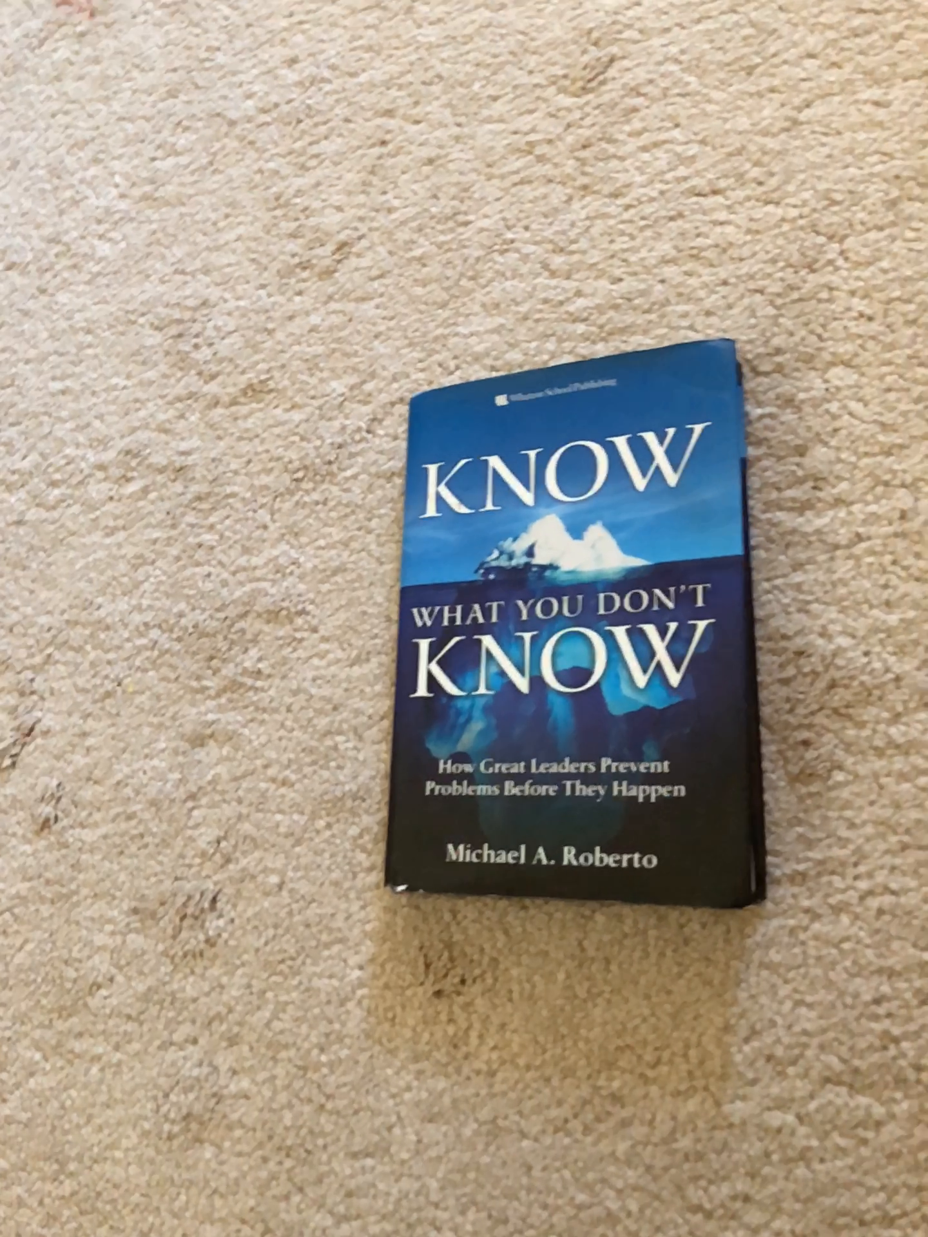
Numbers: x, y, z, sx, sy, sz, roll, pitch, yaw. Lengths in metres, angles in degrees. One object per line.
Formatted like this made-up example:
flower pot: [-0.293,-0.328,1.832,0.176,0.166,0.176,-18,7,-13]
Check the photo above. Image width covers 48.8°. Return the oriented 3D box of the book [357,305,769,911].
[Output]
book: [0.040,-0.003,0.436,0.160,0.034,0.240,-5,74,23]
